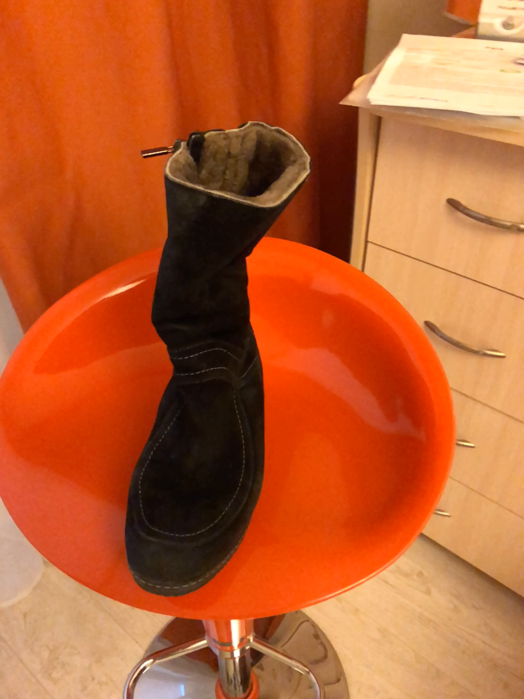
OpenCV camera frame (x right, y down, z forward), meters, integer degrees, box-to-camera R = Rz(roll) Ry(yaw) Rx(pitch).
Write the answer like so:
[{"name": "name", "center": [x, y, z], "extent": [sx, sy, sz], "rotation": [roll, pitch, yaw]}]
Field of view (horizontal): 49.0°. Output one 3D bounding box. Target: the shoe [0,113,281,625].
[{"name": "shoe", "center": [-0.046, 0.003, 0.410], "extent": [0.100, 0.248, 0.262], "rotation": [3, 40, 5]}]
